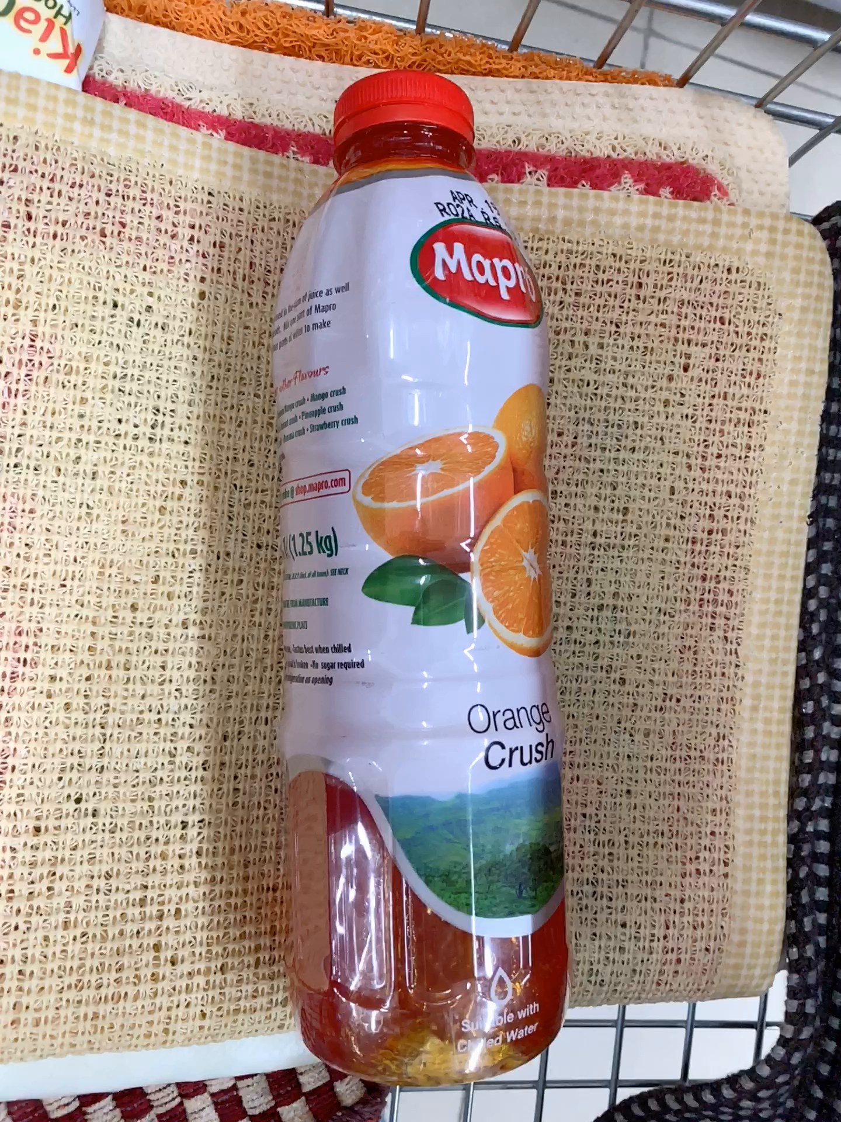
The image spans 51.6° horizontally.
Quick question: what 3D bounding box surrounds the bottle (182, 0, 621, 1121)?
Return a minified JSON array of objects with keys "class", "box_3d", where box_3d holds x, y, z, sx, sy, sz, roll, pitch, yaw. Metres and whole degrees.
[{"class":"bottle","box_3d":[-0.005,-0.010,0.217,0.080,0.070,0.240,2,88,-37]}]
